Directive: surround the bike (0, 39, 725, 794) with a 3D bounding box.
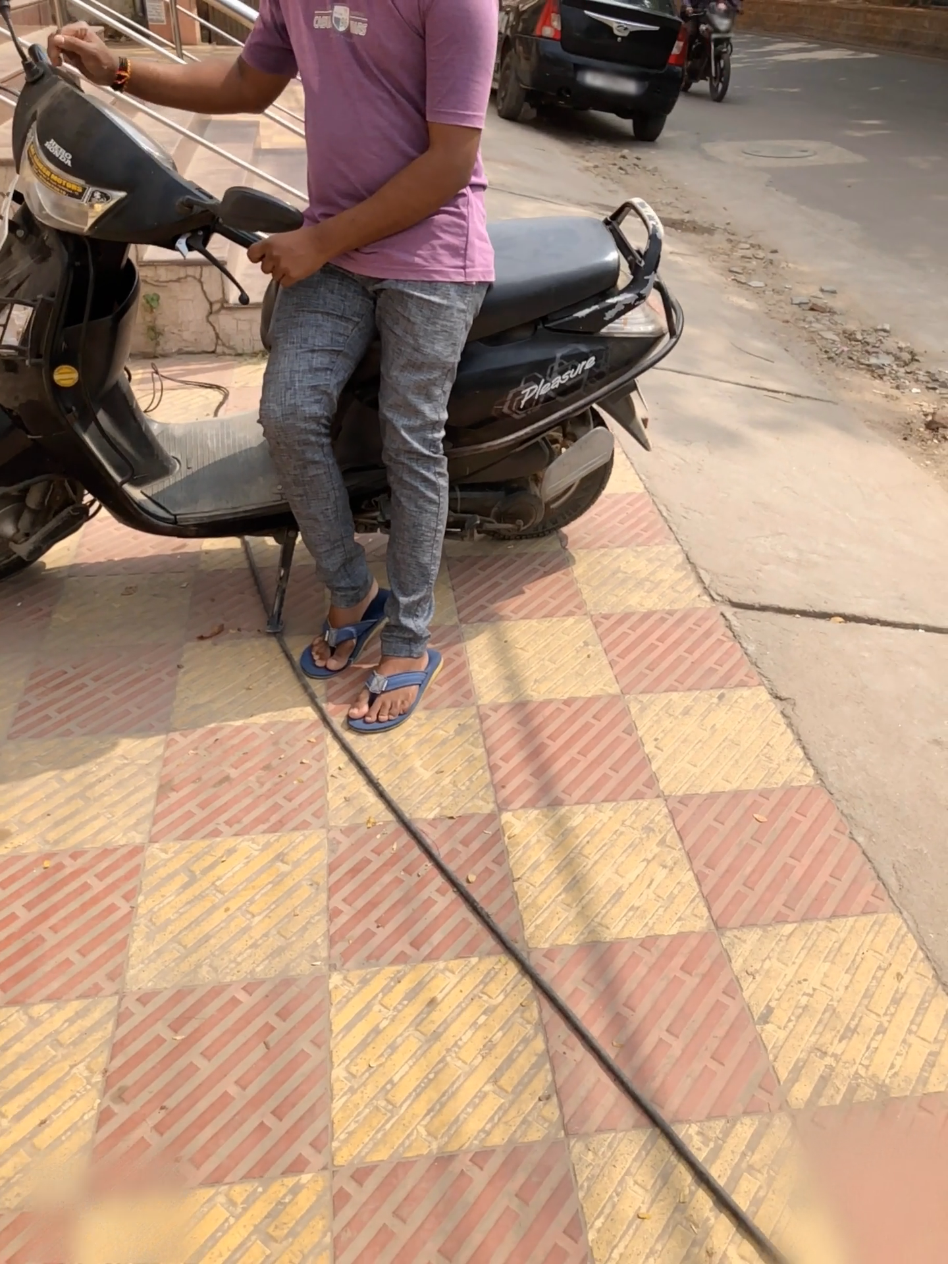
[{"bbox_3d":[-0.422,-0.476,2.023,1.597,1.116,0.638,-9,35,-15],"label":"bike"}]
